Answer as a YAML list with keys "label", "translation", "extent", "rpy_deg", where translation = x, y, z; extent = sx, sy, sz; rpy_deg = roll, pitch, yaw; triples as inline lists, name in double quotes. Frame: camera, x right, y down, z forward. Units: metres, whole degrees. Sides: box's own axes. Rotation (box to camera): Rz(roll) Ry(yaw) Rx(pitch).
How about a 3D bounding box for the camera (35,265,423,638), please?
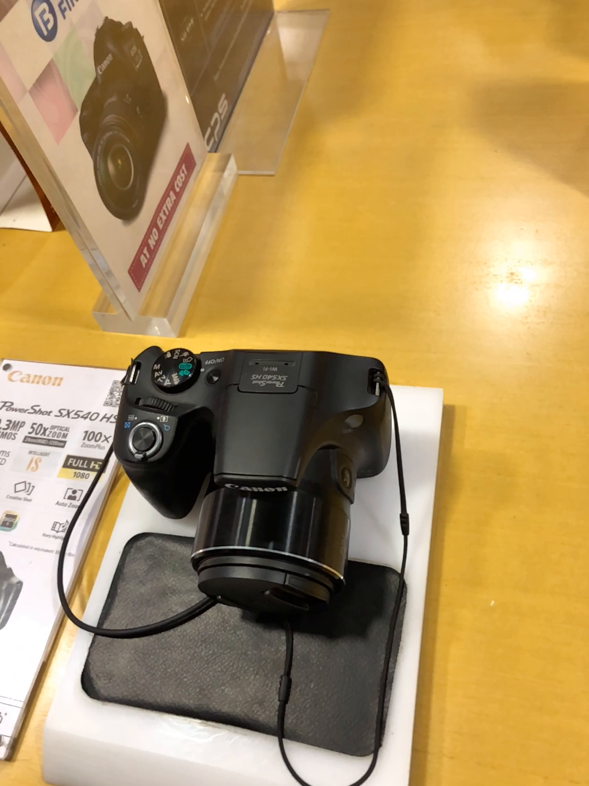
- label: "camera"
  translation: [-0.012, 0.023, 0.288]
  extent: [0.130, 0.090, 0.131]
  rpy_deg: [2, 58, 12]
